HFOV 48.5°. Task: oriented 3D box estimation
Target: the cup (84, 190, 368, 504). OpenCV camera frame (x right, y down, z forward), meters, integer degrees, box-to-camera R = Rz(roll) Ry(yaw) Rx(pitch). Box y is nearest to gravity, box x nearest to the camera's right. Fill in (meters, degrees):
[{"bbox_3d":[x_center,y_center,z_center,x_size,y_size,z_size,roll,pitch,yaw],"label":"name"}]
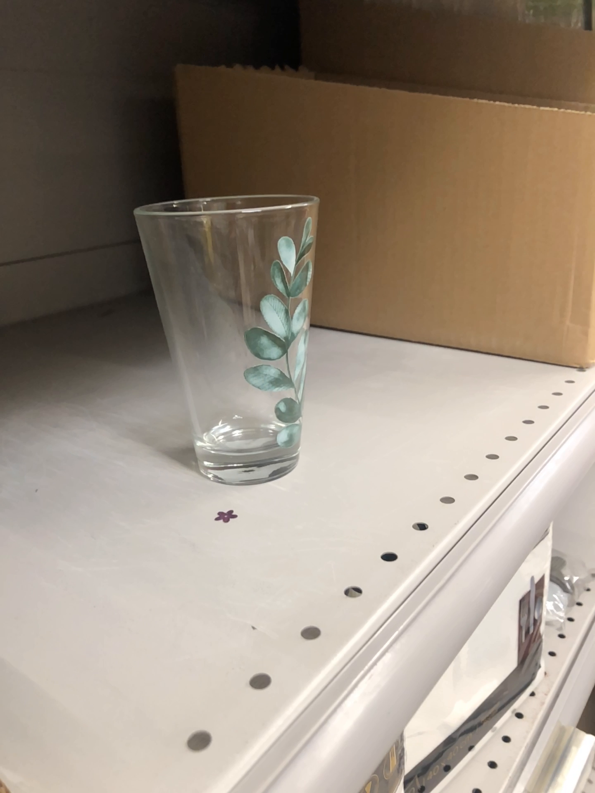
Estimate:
[{"bbox_3d":[-0.027,-0.030,0.300,0.083,0.114,0.083,-3,19,1],"label":"cup"}]
